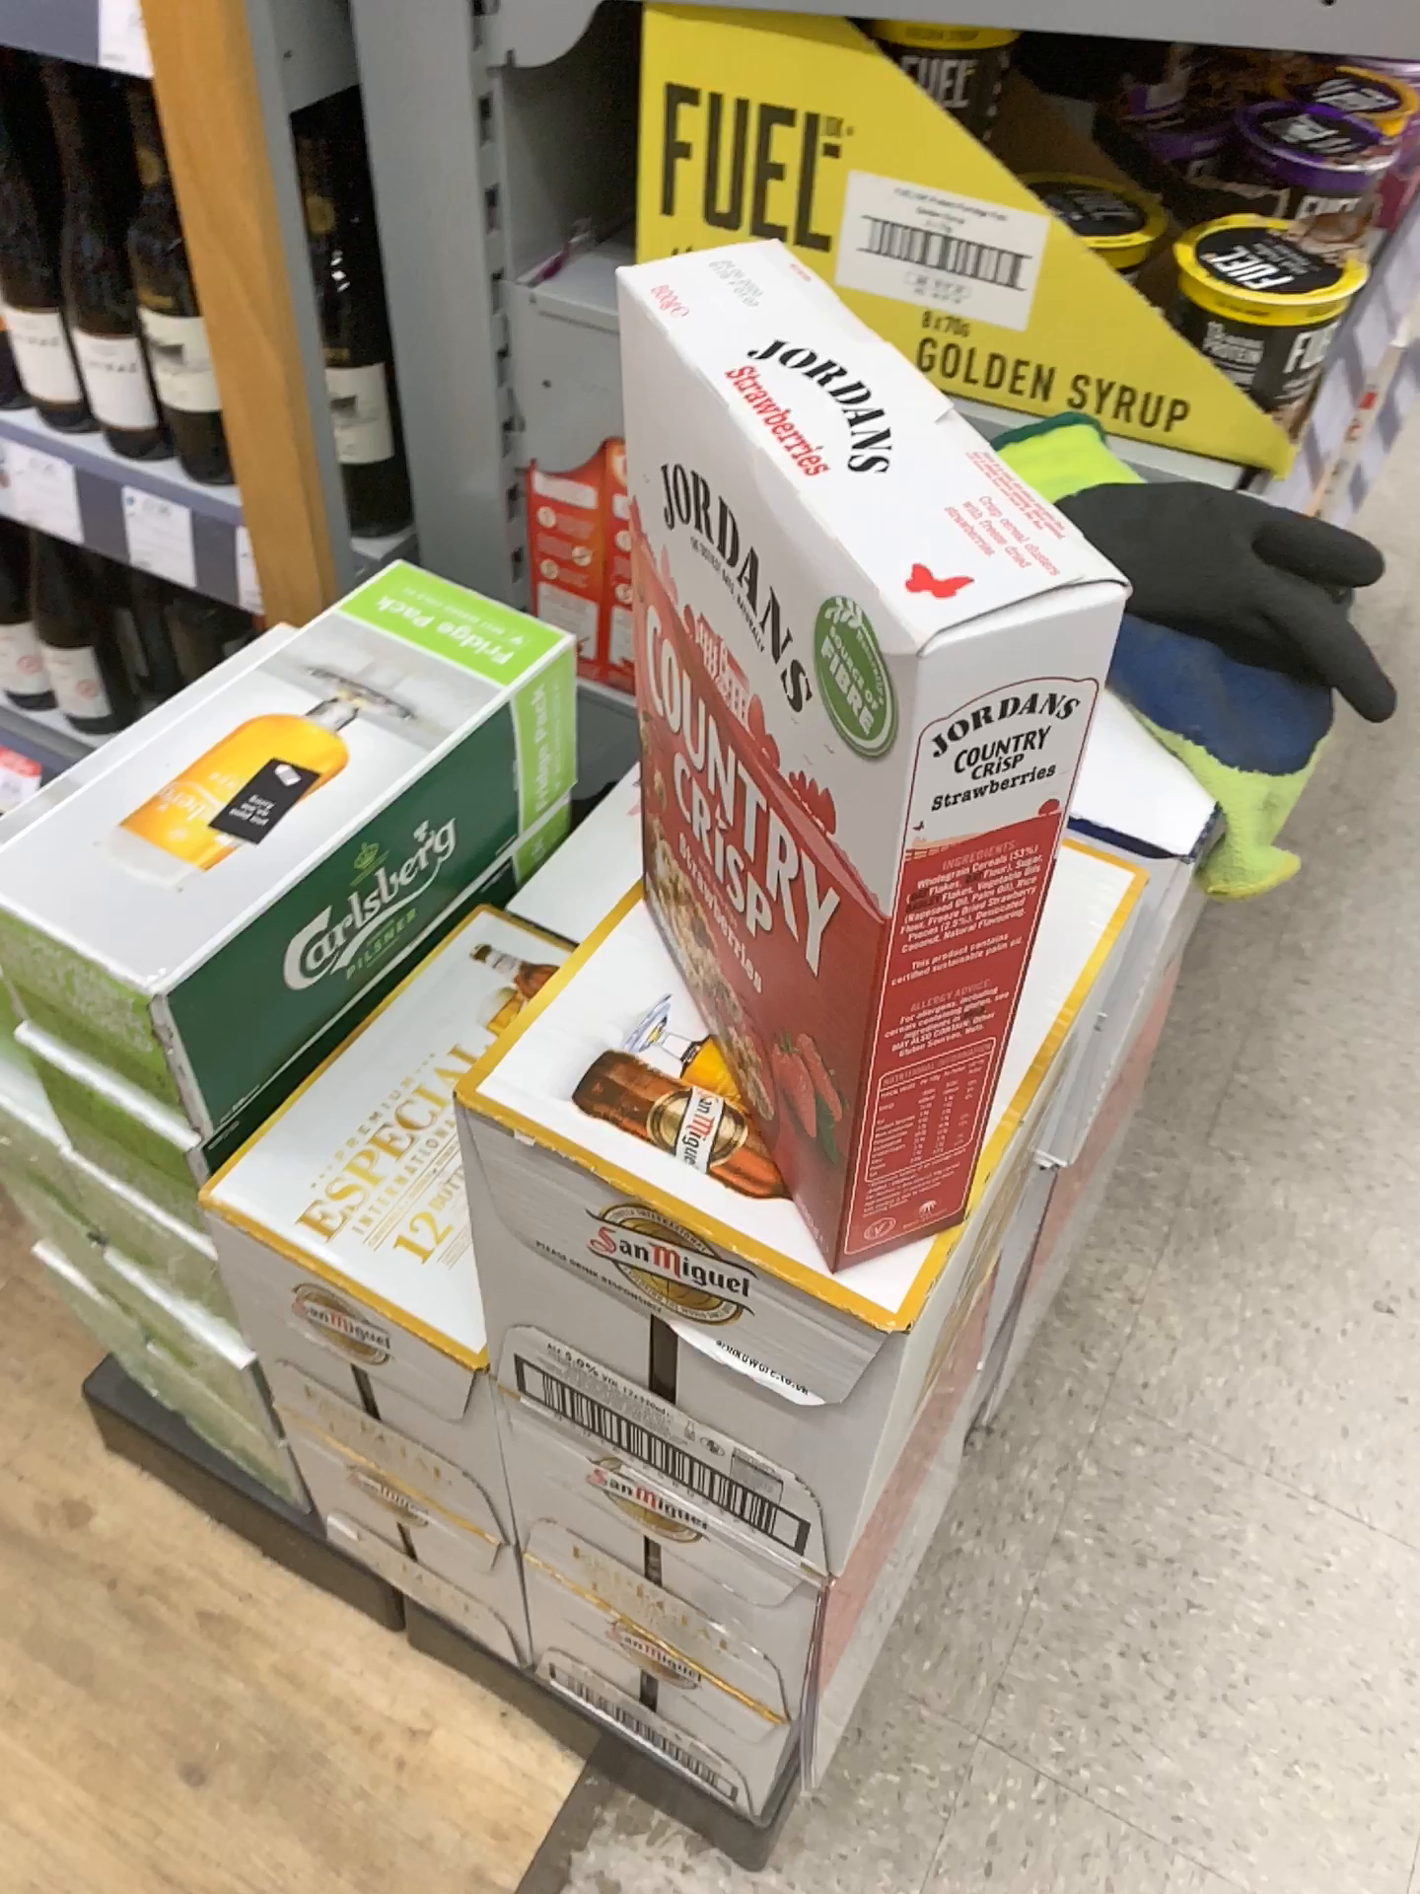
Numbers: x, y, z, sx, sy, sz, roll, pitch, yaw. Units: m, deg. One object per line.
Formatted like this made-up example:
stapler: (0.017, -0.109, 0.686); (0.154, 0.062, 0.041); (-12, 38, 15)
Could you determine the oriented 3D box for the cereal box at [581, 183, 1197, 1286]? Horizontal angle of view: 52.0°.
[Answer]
cereal box: (0.029, -0.052, 0.424); (0.060, 0.248, 0.192); (-17, 51, -15)
